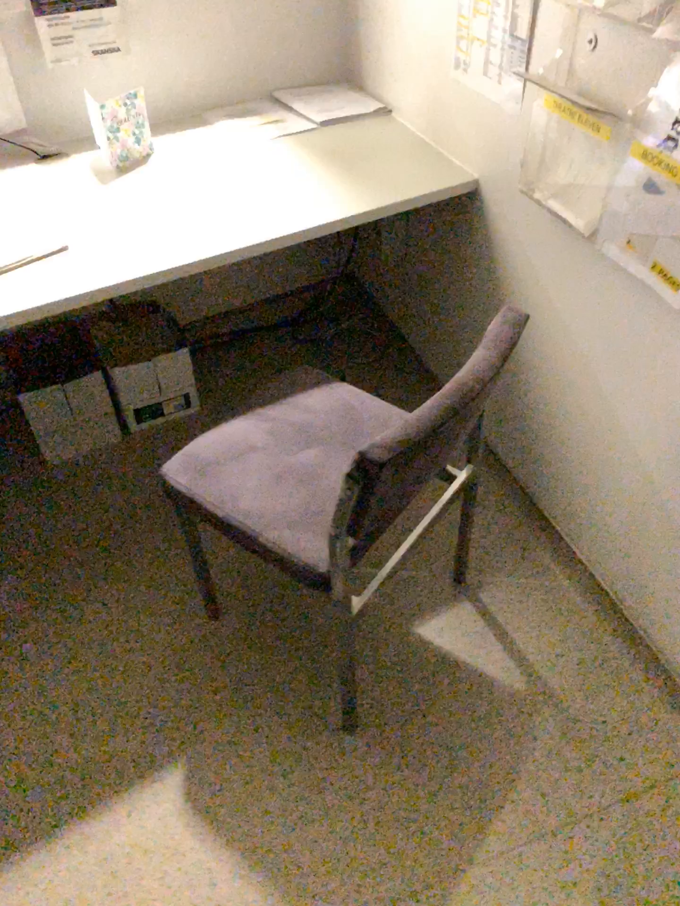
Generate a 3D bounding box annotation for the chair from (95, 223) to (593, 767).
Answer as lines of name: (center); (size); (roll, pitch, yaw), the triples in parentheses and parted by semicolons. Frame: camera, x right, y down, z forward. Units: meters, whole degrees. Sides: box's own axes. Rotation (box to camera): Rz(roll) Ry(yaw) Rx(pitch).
chair: (0.027, 0.048, 1.302); (0.552, 0.664, 0.573); (27, 49, 28)
